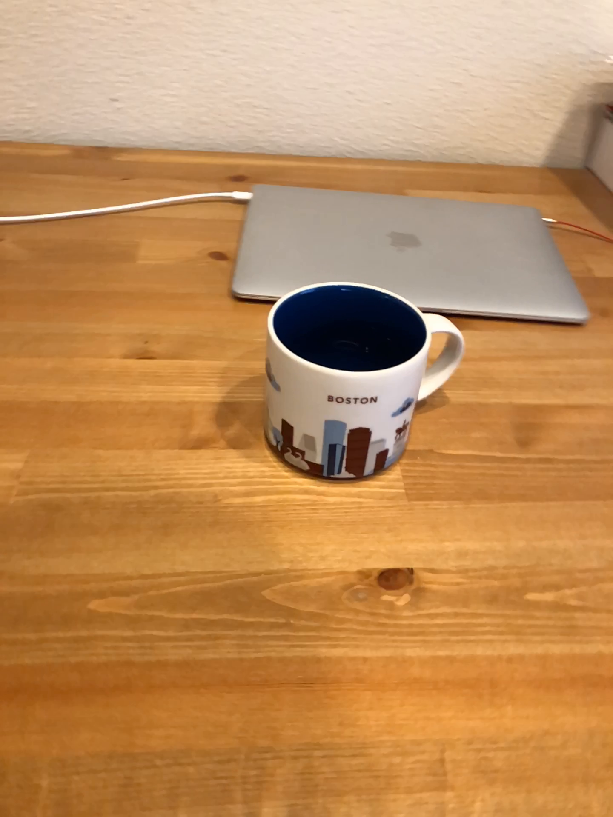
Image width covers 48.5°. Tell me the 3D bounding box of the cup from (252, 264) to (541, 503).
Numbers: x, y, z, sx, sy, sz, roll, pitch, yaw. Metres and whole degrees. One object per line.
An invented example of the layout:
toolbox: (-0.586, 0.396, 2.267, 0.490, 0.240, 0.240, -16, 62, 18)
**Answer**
cup: (0.046, -0.020, 0.424, 0.140, 0.090, 0.100, -8, 42, -15)
